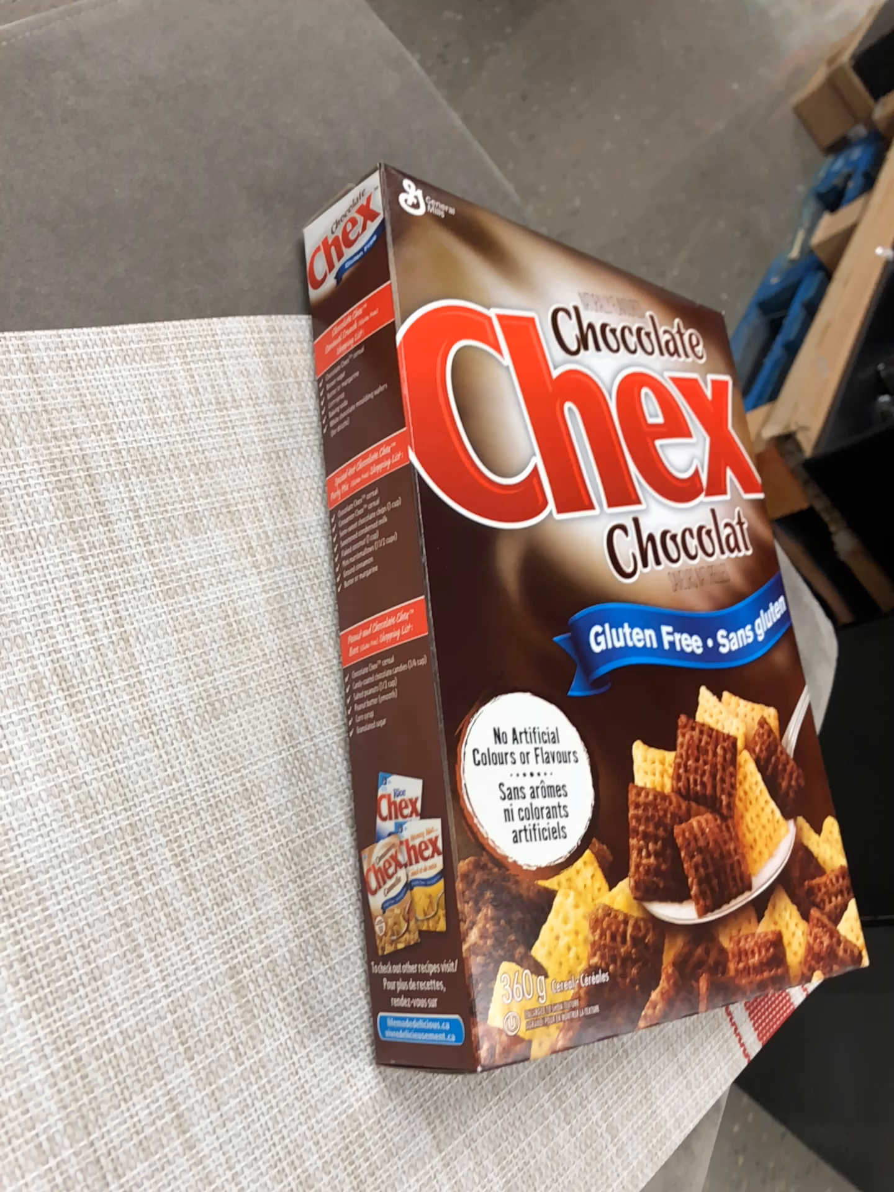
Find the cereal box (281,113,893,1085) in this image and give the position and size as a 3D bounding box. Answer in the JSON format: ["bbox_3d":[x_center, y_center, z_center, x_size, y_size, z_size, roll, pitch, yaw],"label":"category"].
[{"bbox_3d":[0.054,-0.002,0.367,0.211,0.050,0.290,7,69,-39],"label":"cereal box"}]
